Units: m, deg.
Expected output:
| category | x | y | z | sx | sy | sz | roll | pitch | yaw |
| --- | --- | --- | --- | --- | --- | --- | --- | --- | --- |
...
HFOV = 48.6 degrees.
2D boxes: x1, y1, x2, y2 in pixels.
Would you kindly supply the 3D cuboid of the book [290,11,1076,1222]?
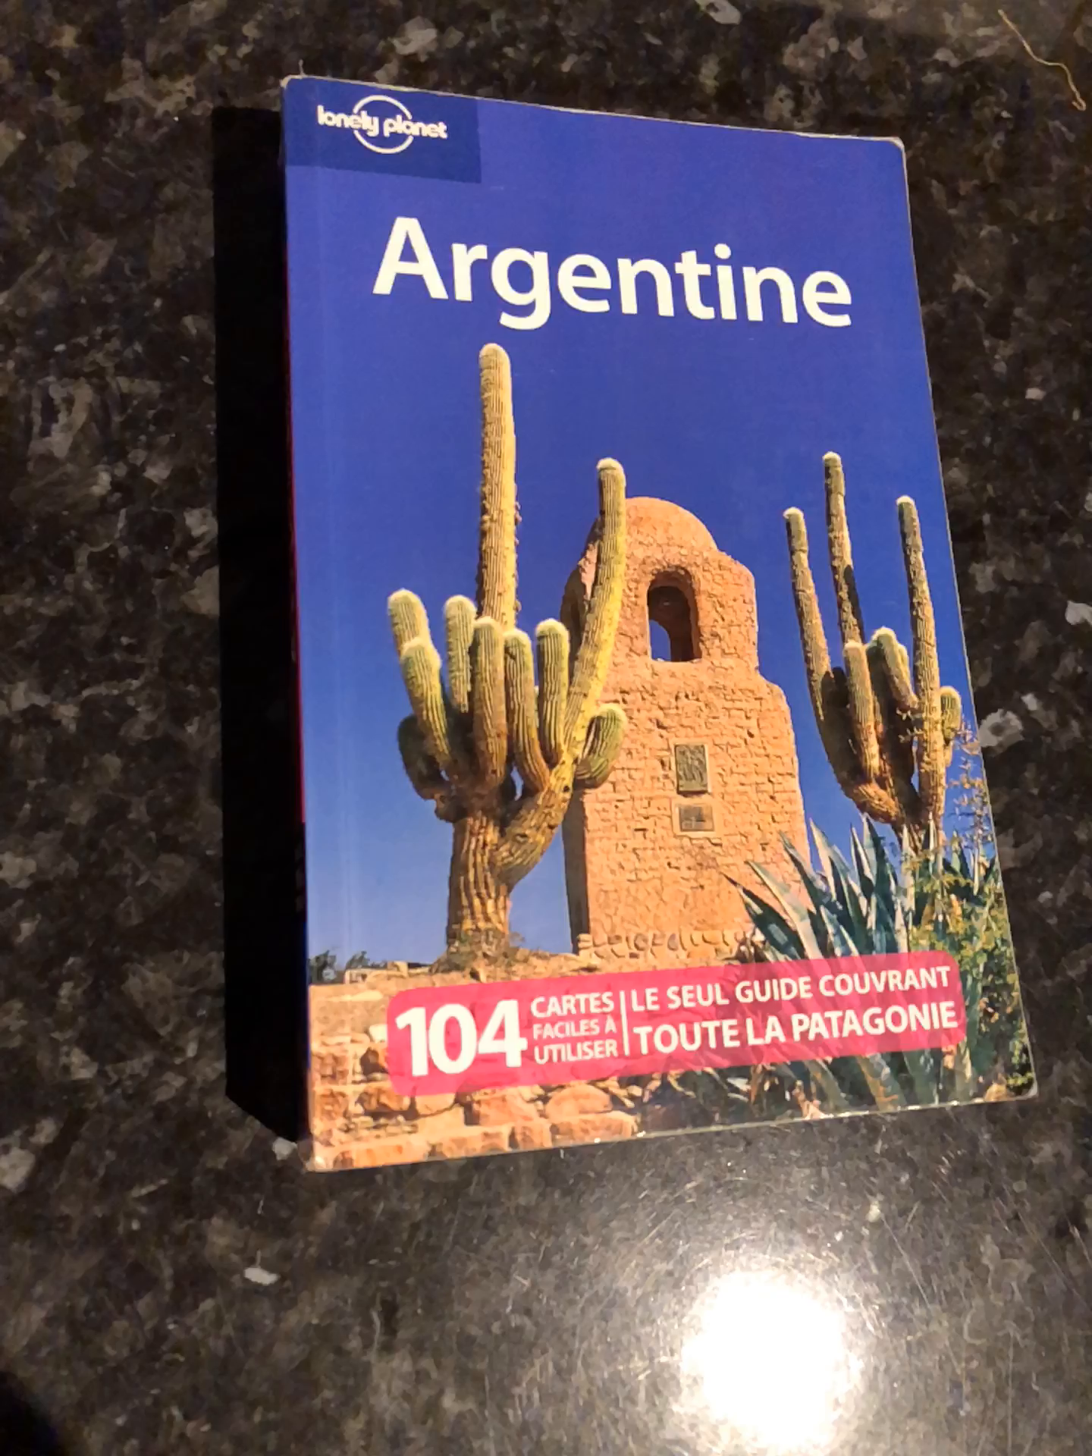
| category | x | y | z | sx | sy | sz | roll | pitch | yaw |
| --- | --- | --- | --- | --- | --- | --- | --- | --- | --- |
| book | 0.020 | -0.027 | 0.232 | 0.130 | 0.030 | 0.210 | -1 | 78 | -15 |
